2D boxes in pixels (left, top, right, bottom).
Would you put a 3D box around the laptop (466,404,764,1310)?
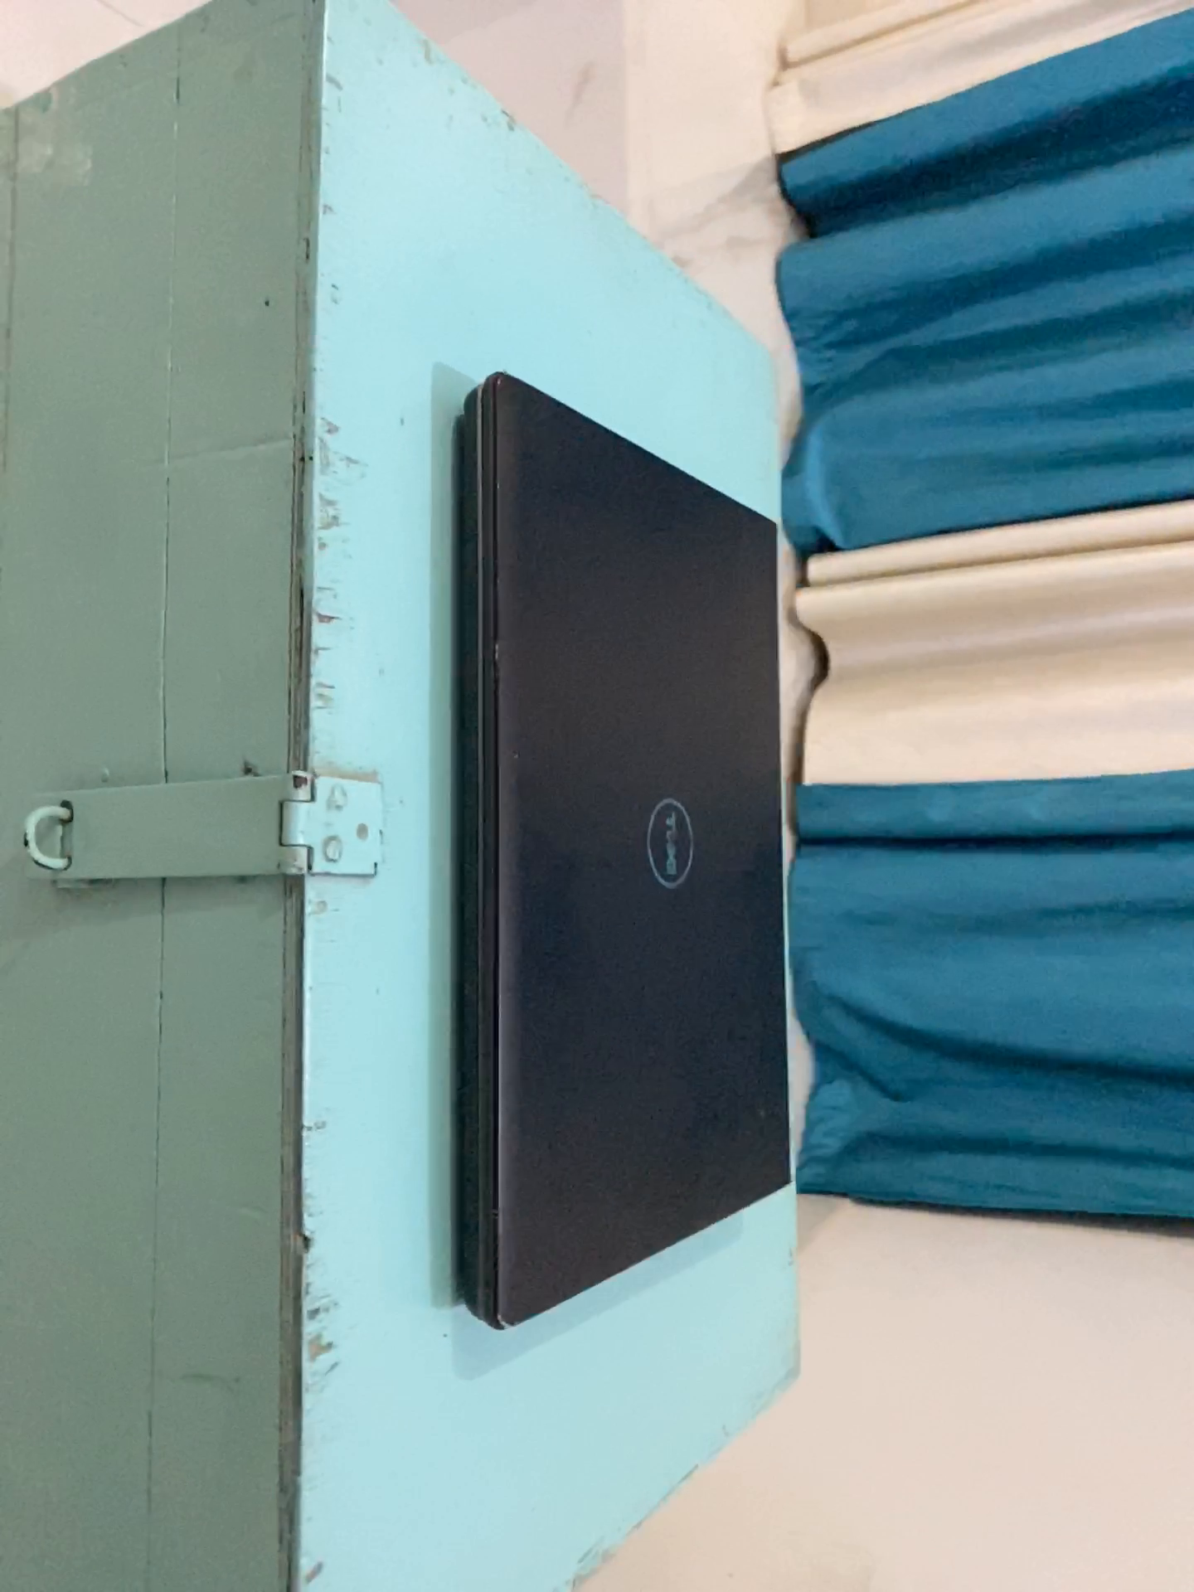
[{"bbox_3d":[0.023,0.026,0.631,0.271,0.004,0.384,7,81,-56],"label":"laptop"}]
